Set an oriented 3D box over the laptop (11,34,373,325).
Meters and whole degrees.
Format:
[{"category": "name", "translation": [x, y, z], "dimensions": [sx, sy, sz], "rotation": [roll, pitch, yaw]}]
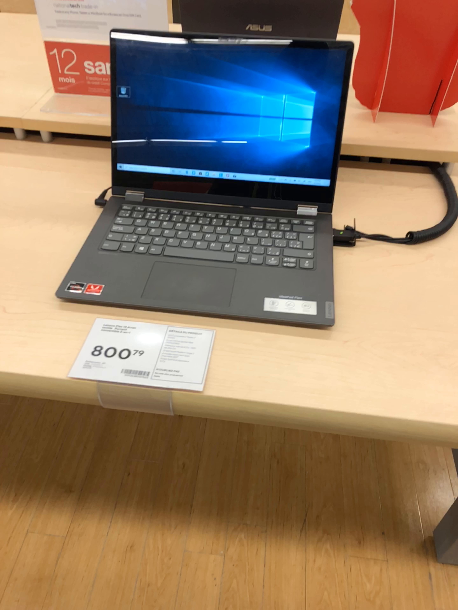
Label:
[{"category": "laptop", "translation": [-0.019, -0.170, 0.614], "dimensions": [0.319, 0.198, 0.307], "rotation": [6, 44, 5]}]
